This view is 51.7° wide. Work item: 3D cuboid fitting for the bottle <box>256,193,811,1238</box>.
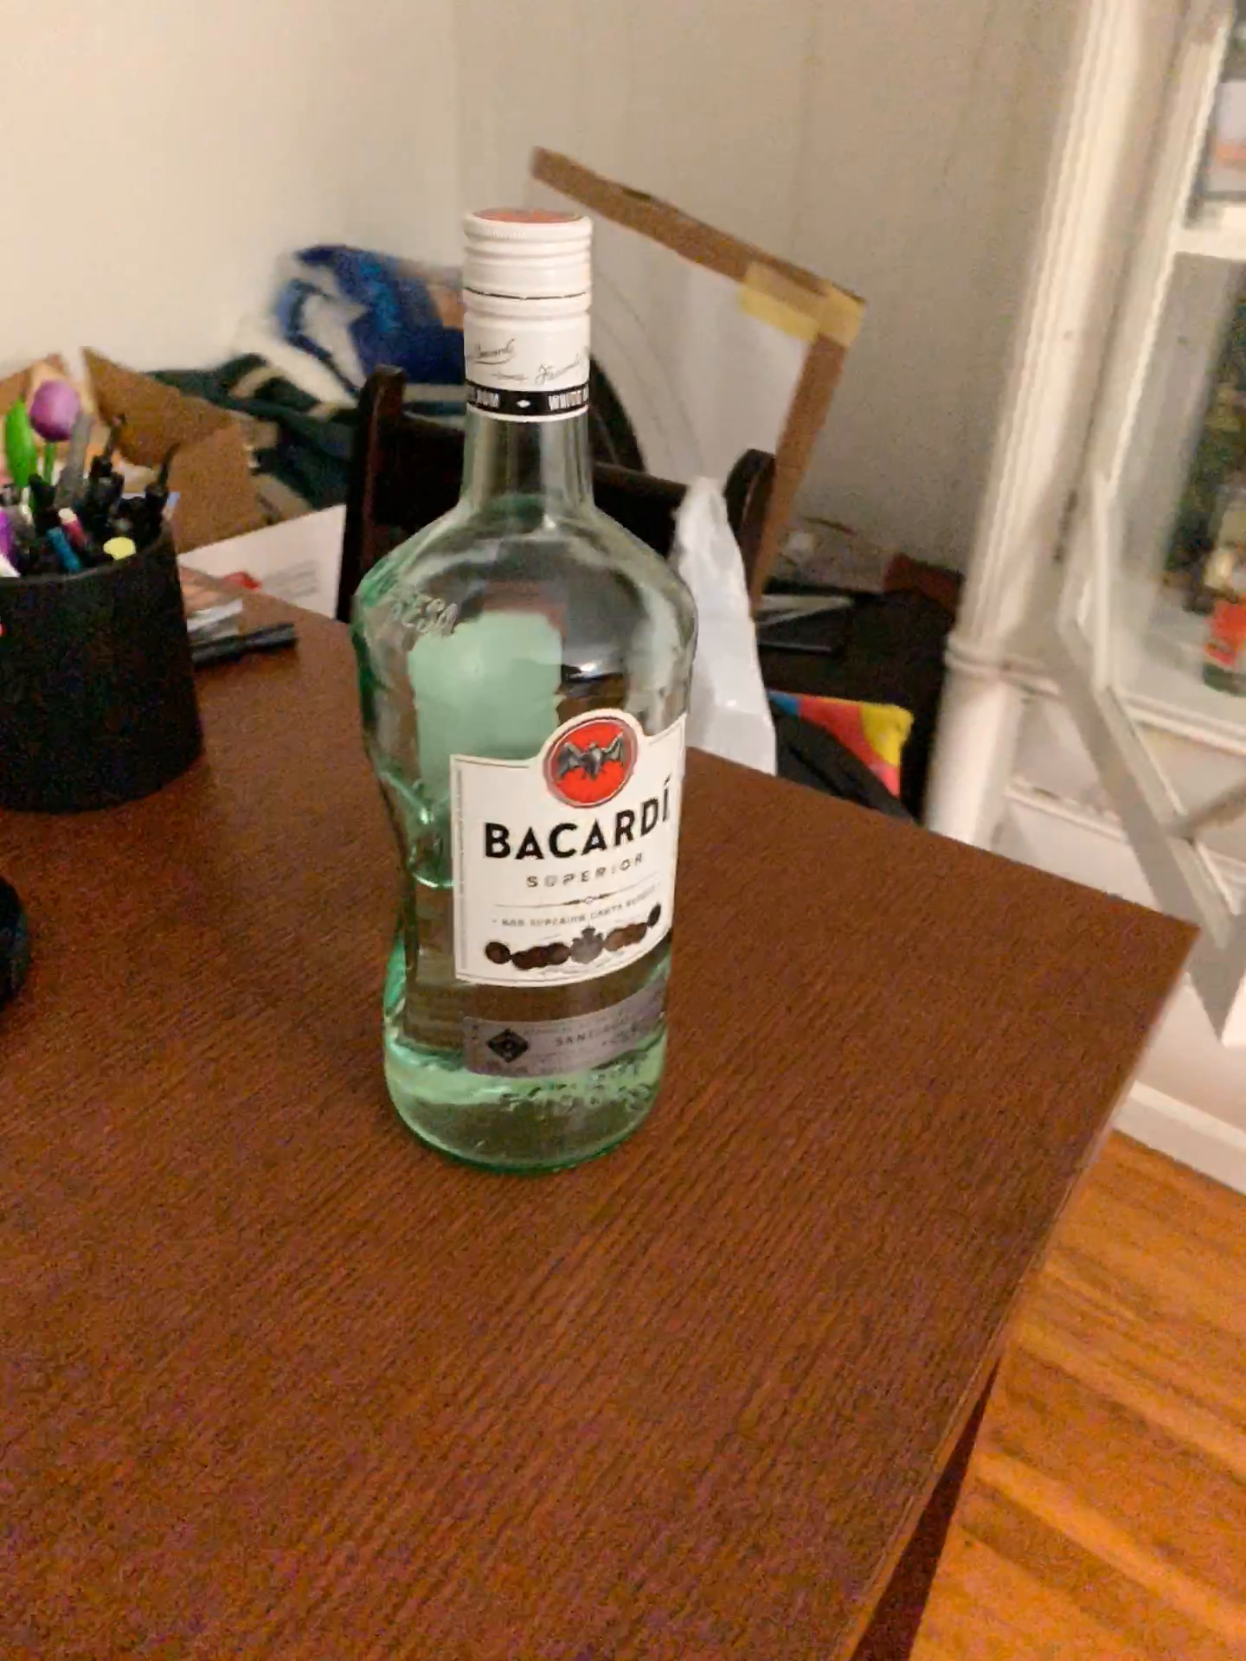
[{"bbox_3d":[-0.036,-0.032,0.449,0.120,0.328,0.121,2,32,-1],"label":"bottle"}]
